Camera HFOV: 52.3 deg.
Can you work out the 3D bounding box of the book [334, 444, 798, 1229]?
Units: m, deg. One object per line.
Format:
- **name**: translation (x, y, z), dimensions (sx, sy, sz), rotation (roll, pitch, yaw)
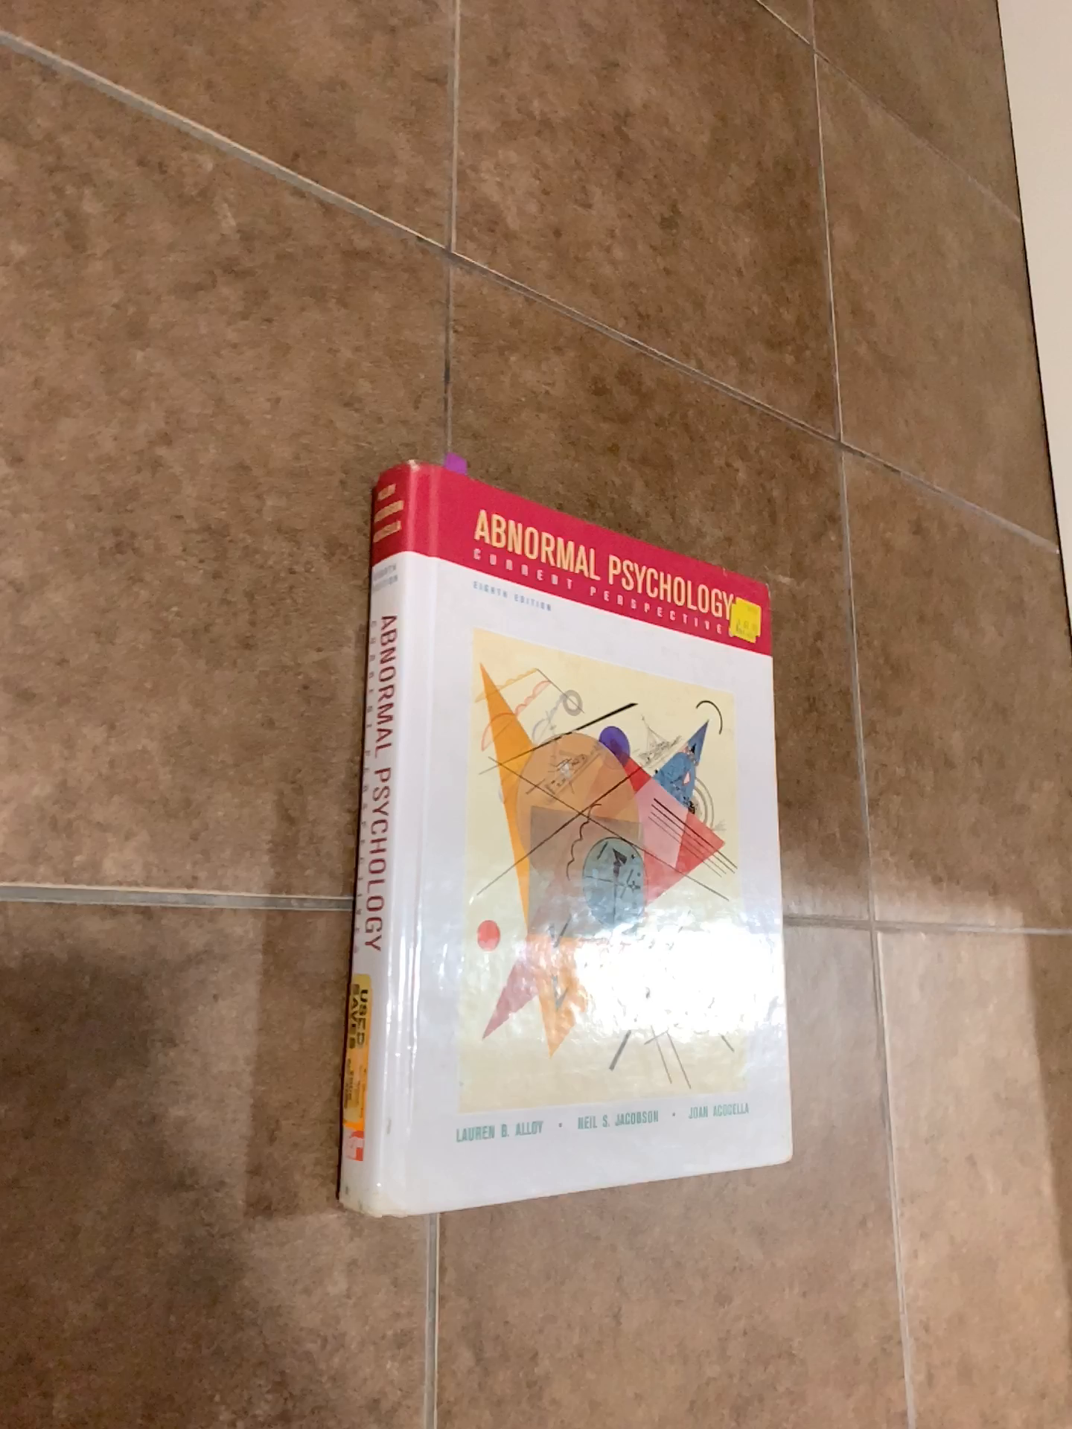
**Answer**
- **book**: translation (0.026, 0.053, 0.481), dimensions (0.224, 0.031, 0.288), rotation (11, 73, -38)
